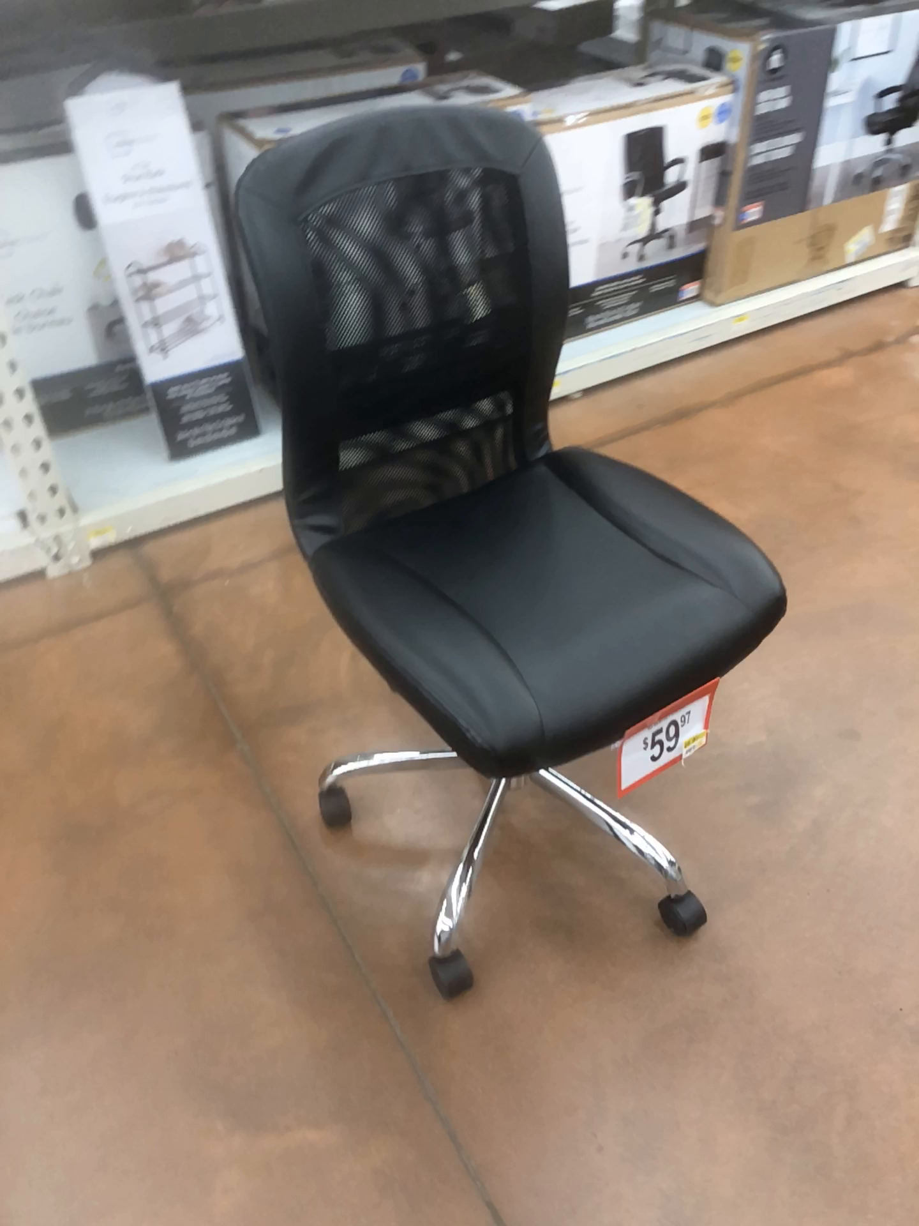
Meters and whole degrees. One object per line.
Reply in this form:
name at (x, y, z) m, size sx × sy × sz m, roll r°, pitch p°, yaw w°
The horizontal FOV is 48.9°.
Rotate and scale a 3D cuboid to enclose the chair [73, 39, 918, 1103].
chair at (0.101, -0.087, 1.157) m, size 0.681 × 0.817 × 0.652 m, roll -23°, pitch 46°, yaw -23°
